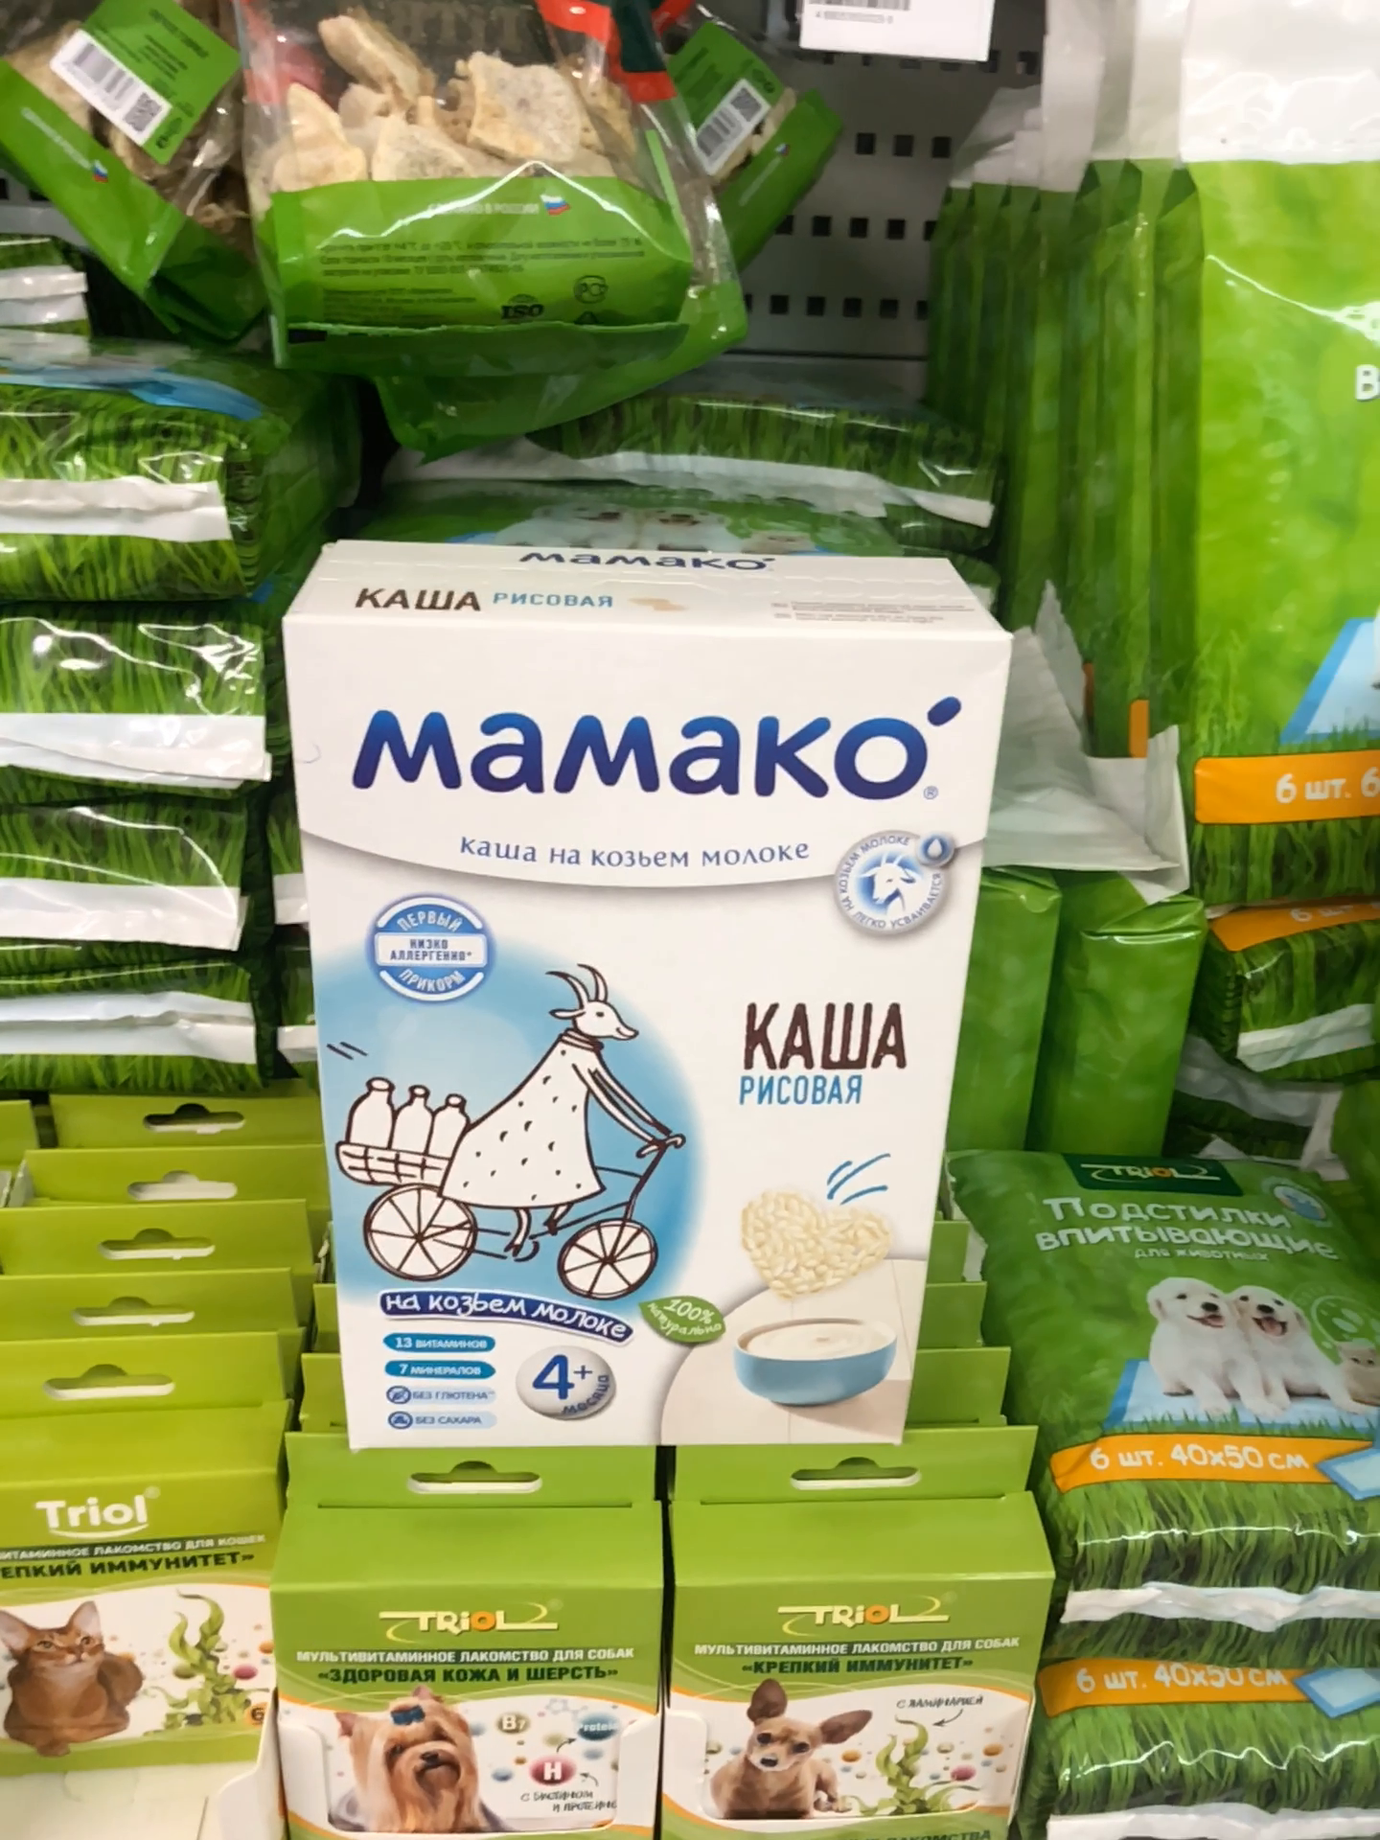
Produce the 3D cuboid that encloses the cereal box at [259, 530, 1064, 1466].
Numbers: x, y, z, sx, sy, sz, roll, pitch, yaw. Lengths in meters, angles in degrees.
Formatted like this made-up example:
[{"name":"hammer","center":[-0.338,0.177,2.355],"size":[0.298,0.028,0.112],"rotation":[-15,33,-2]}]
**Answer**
[{"name":"cereal box","center":[-0.009,0.023,0.336],"size":[0.140,0.199,0.060],"rotation":[1,27,-4]}]
